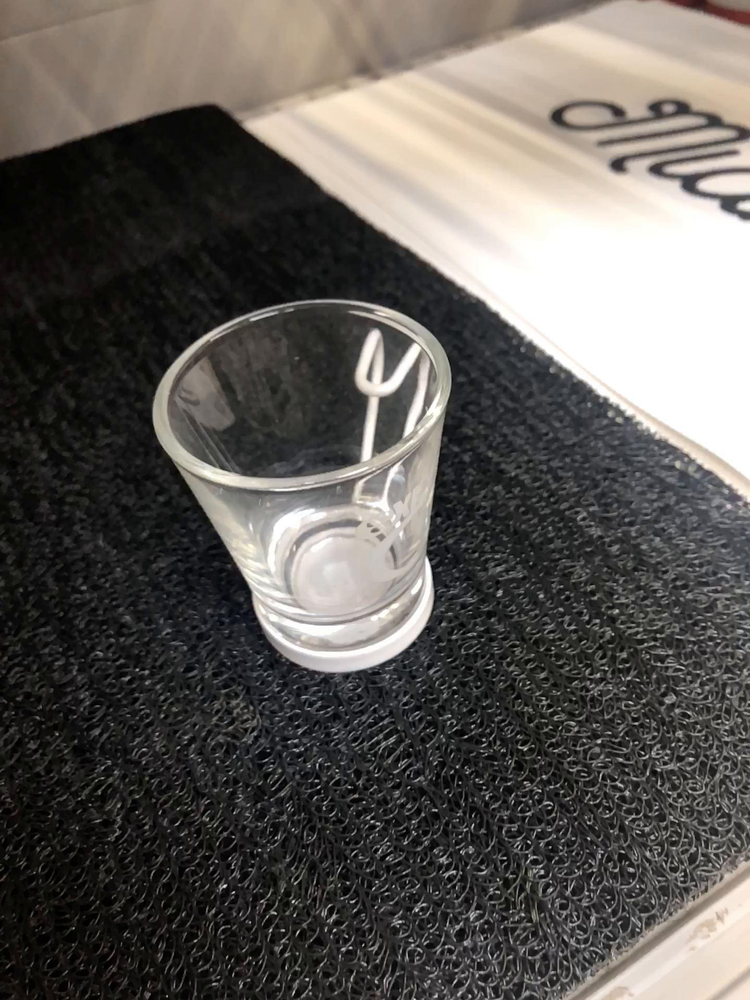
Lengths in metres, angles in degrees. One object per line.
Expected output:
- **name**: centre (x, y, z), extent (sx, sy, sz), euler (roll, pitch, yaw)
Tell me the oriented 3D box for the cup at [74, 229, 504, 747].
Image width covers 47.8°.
- **cup**: centre (-0.010, -0.007, 0.194), extent (0.059, 0.063, 0.093), euler (10, 48, 12)
